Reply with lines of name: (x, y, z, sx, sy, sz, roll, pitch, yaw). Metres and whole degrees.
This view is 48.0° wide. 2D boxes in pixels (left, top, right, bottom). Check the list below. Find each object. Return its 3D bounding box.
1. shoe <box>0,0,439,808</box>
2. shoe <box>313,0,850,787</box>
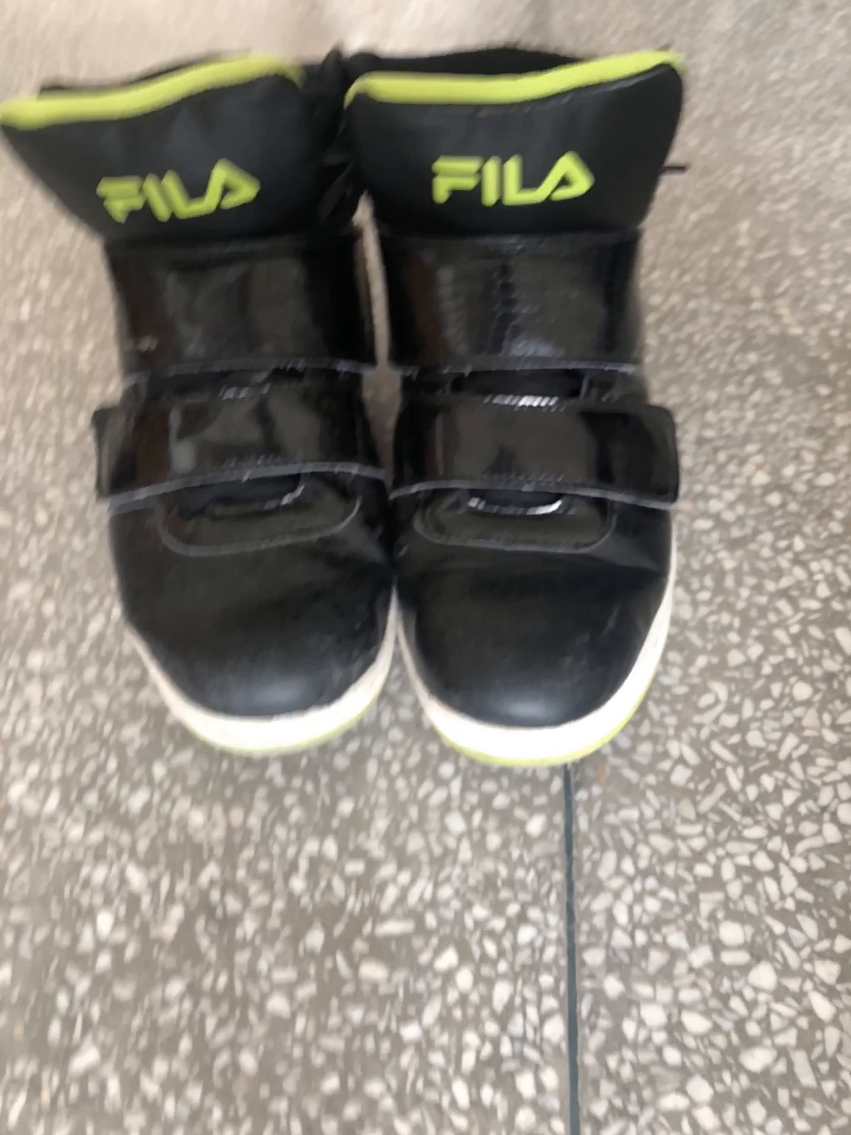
shoe: (-0.074, -0.075, 0.354, 0.120, 0.147, 0.270, -7, 54, -2)
shoe: (0.039, -0.075, 0.324, 0.120, 0.147, 0.251, -2, 54, 2)
